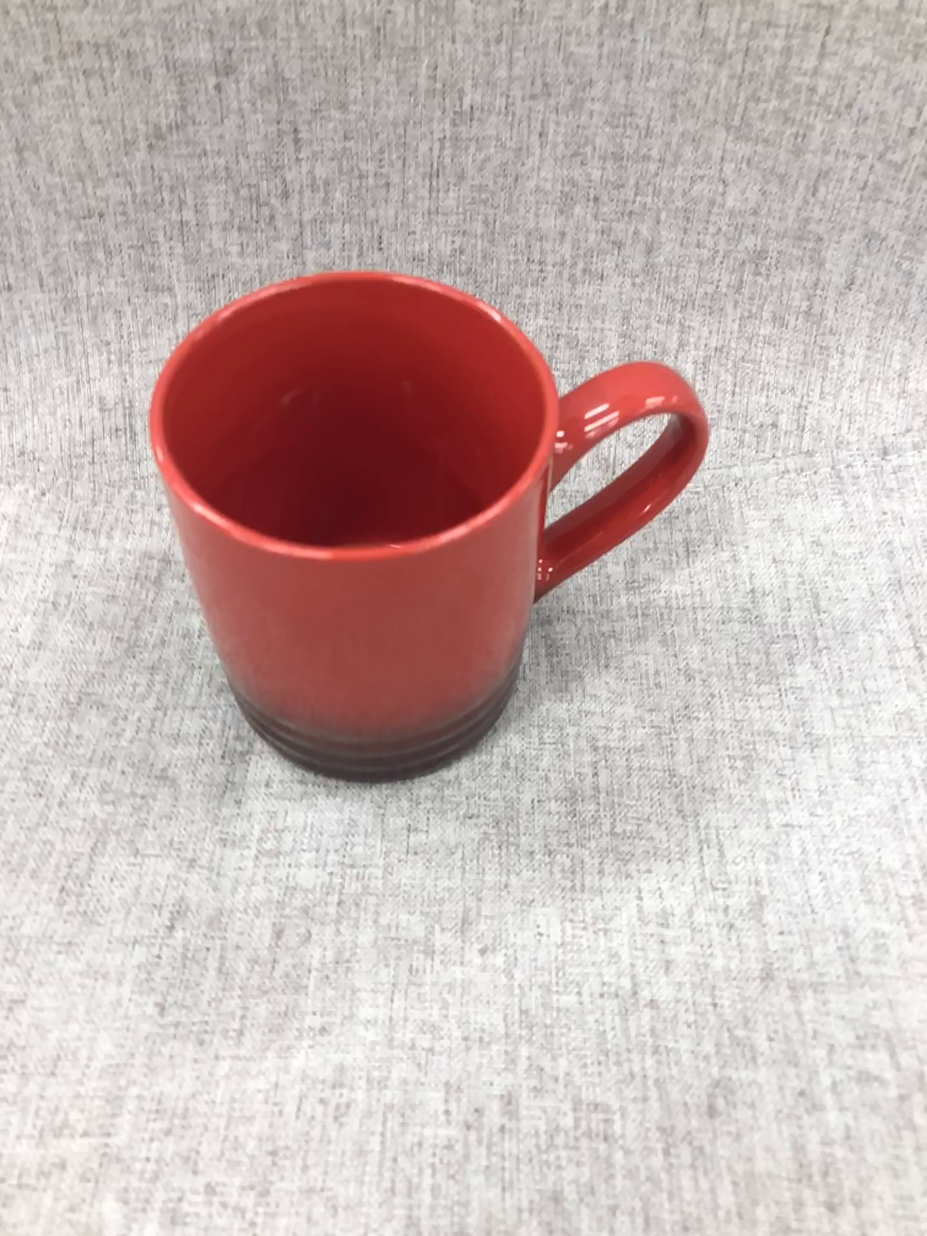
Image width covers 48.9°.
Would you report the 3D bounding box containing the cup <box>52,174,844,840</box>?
[{"bbox_3d":[-0.006,-0.024,0.246,0.140,0.100,0.080,-18,58,-11],"label":"cup"}]
